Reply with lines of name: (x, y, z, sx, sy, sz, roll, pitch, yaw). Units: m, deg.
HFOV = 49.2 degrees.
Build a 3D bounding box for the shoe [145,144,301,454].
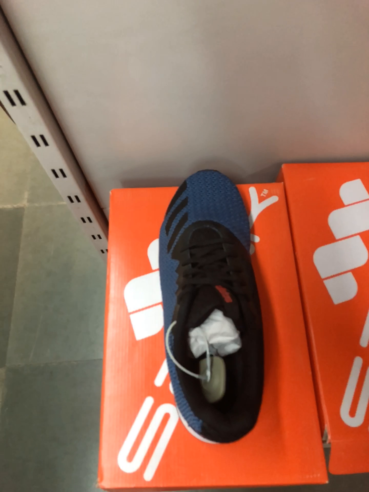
shoe: (0.024, 0.051, 0.391, 0.105, 0.136, 0.254, -4, 67, 1)
